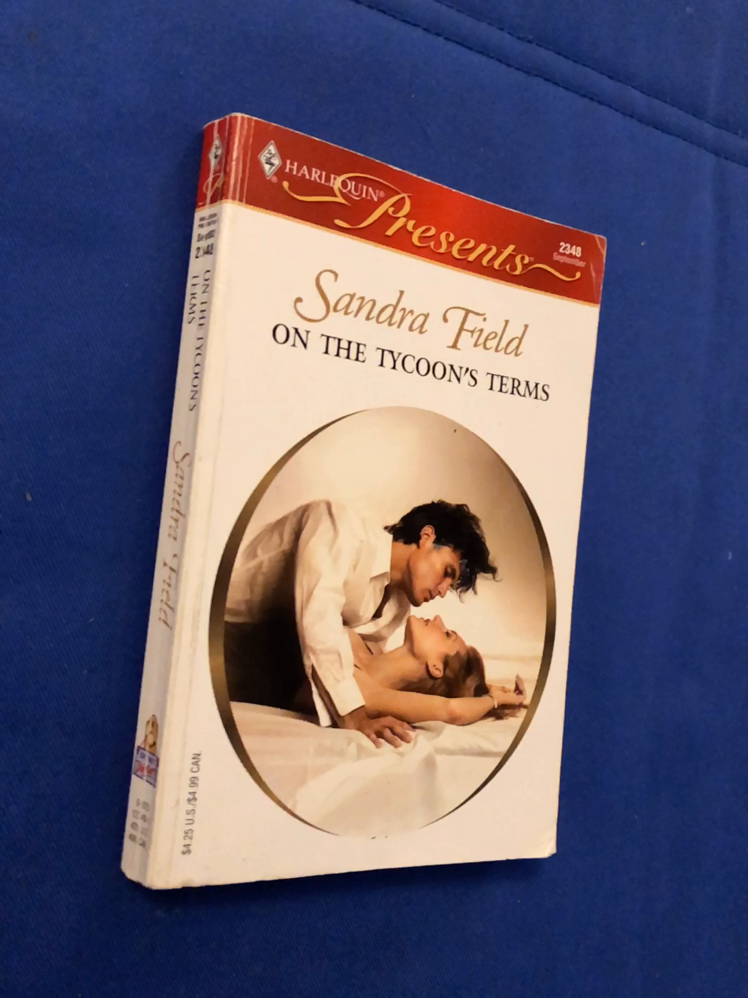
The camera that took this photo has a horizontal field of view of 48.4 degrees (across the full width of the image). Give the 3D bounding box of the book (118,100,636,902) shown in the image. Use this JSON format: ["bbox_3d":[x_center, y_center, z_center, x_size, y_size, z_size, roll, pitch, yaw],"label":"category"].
[{"bbox_3d":[0.007,0.005,0.195,0.107,0.020,0.157,8,87,-27],"label":"book"}]
